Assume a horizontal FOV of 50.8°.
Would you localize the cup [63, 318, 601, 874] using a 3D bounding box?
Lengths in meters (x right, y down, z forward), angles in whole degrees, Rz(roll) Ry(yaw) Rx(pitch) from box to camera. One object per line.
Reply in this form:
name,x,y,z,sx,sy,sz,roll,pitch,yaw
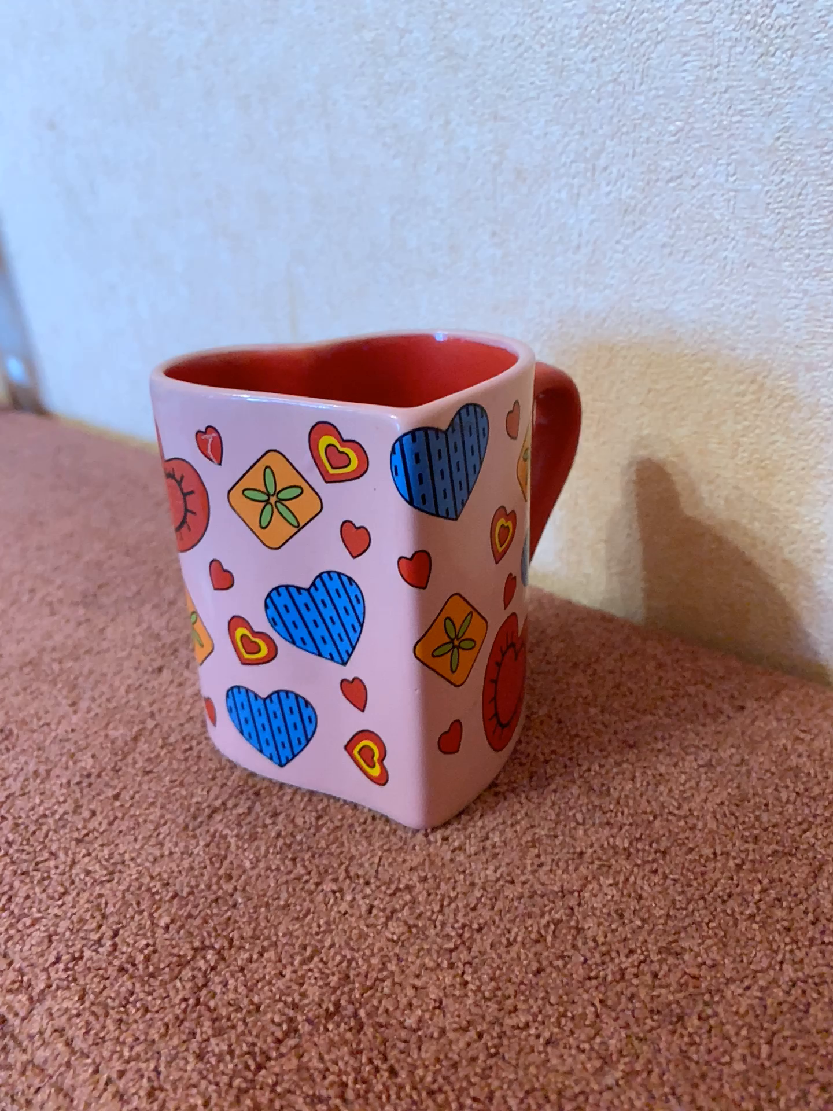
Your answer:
cup,-0.011,-0.001,0.205,0.085,0.091,0.082,-2,23,1
